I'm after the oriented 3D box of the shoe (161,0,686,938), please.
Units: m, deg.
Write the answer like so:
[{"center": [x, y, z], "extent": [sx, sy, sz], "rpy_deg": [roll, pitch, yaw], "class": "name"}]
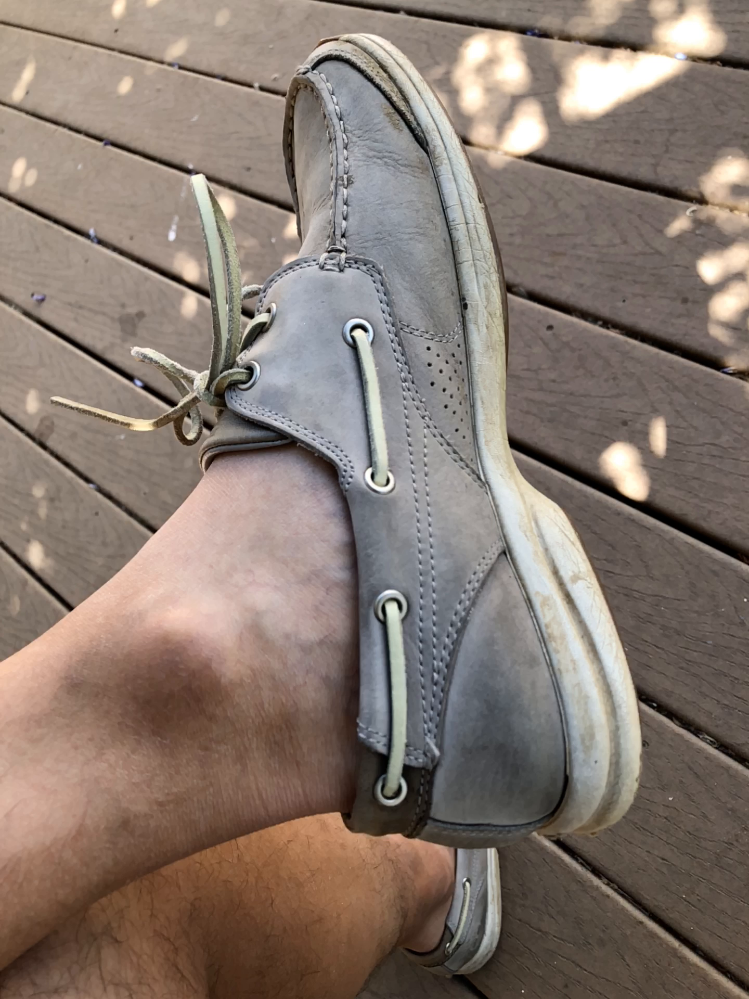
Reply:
[{"center": [-0.010, -0.035, 0.286], "extent": [0.106, 0.113, 0.303], "rpy_deg": [-3, 71, -16], "class": "shoe"}]
